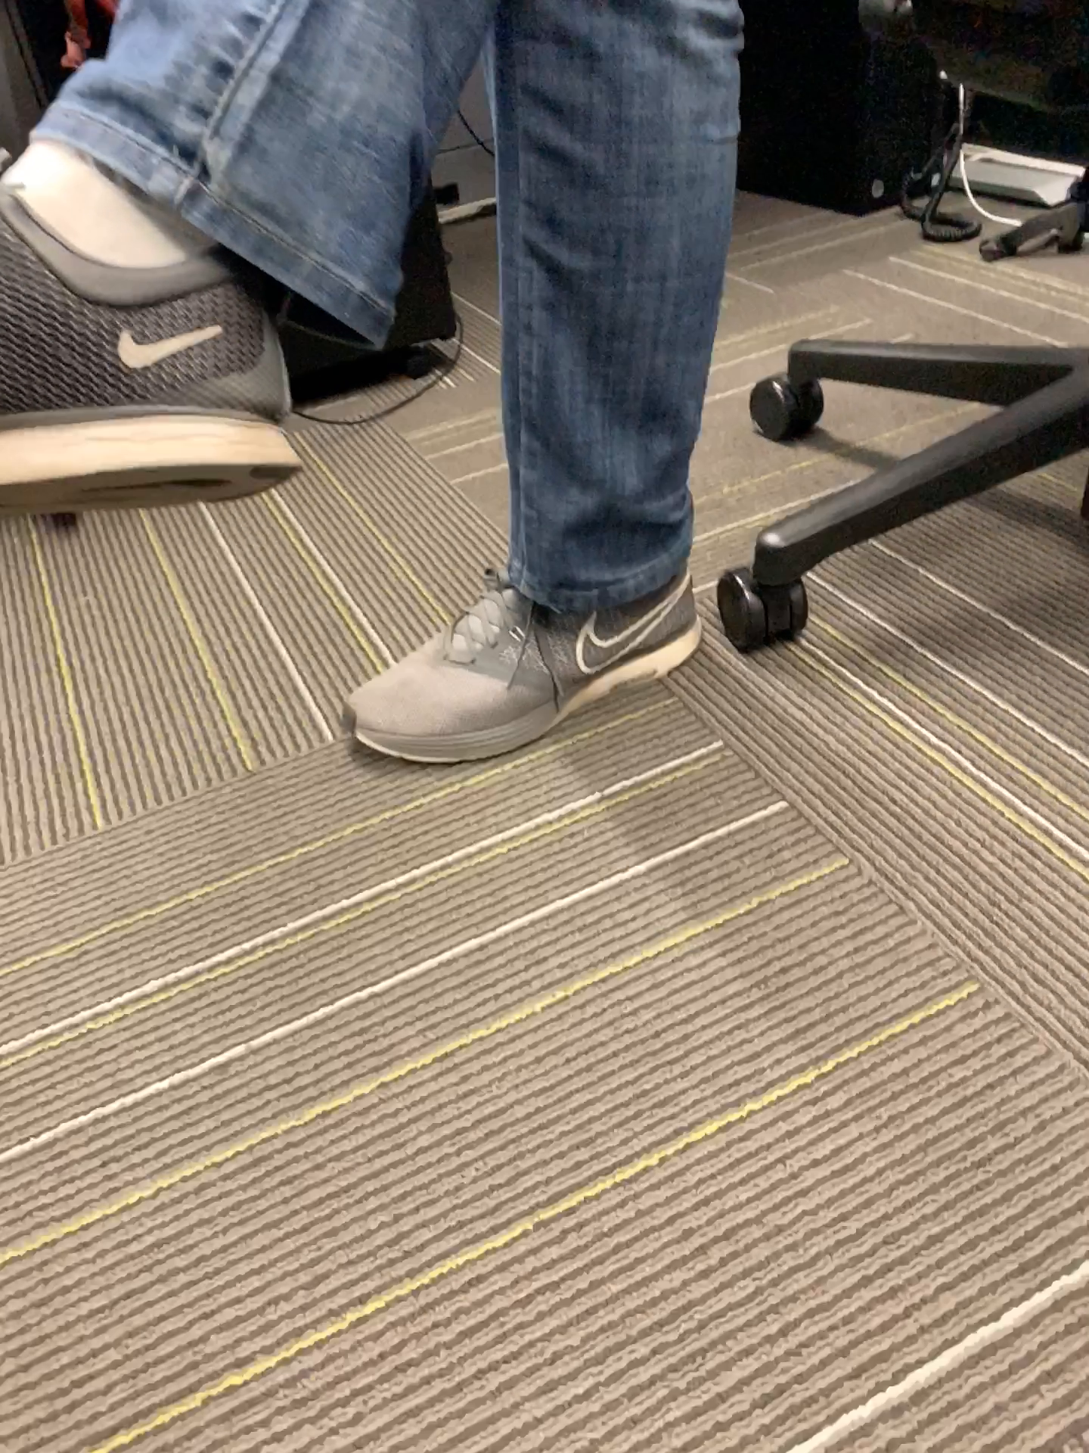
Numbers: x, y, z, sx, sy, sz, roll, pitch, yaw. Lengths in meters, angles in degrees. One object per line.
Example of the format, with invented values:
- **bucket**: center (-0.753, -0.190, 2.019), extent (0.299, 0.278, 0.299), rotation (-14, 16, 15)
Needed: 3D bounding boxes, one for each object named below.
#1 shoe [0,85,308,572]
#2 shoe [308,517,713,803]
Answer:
- **shoe**: center (-0.260, -0.161, 0.469), extent (0.295, 0.143, 0.122), rotation (-6, -5, -9)
- **shoe**: center (-0.023, -0.057, 0.833), extent (0.269, 0.085, 0.120), rotation (-20, 39, -15)
